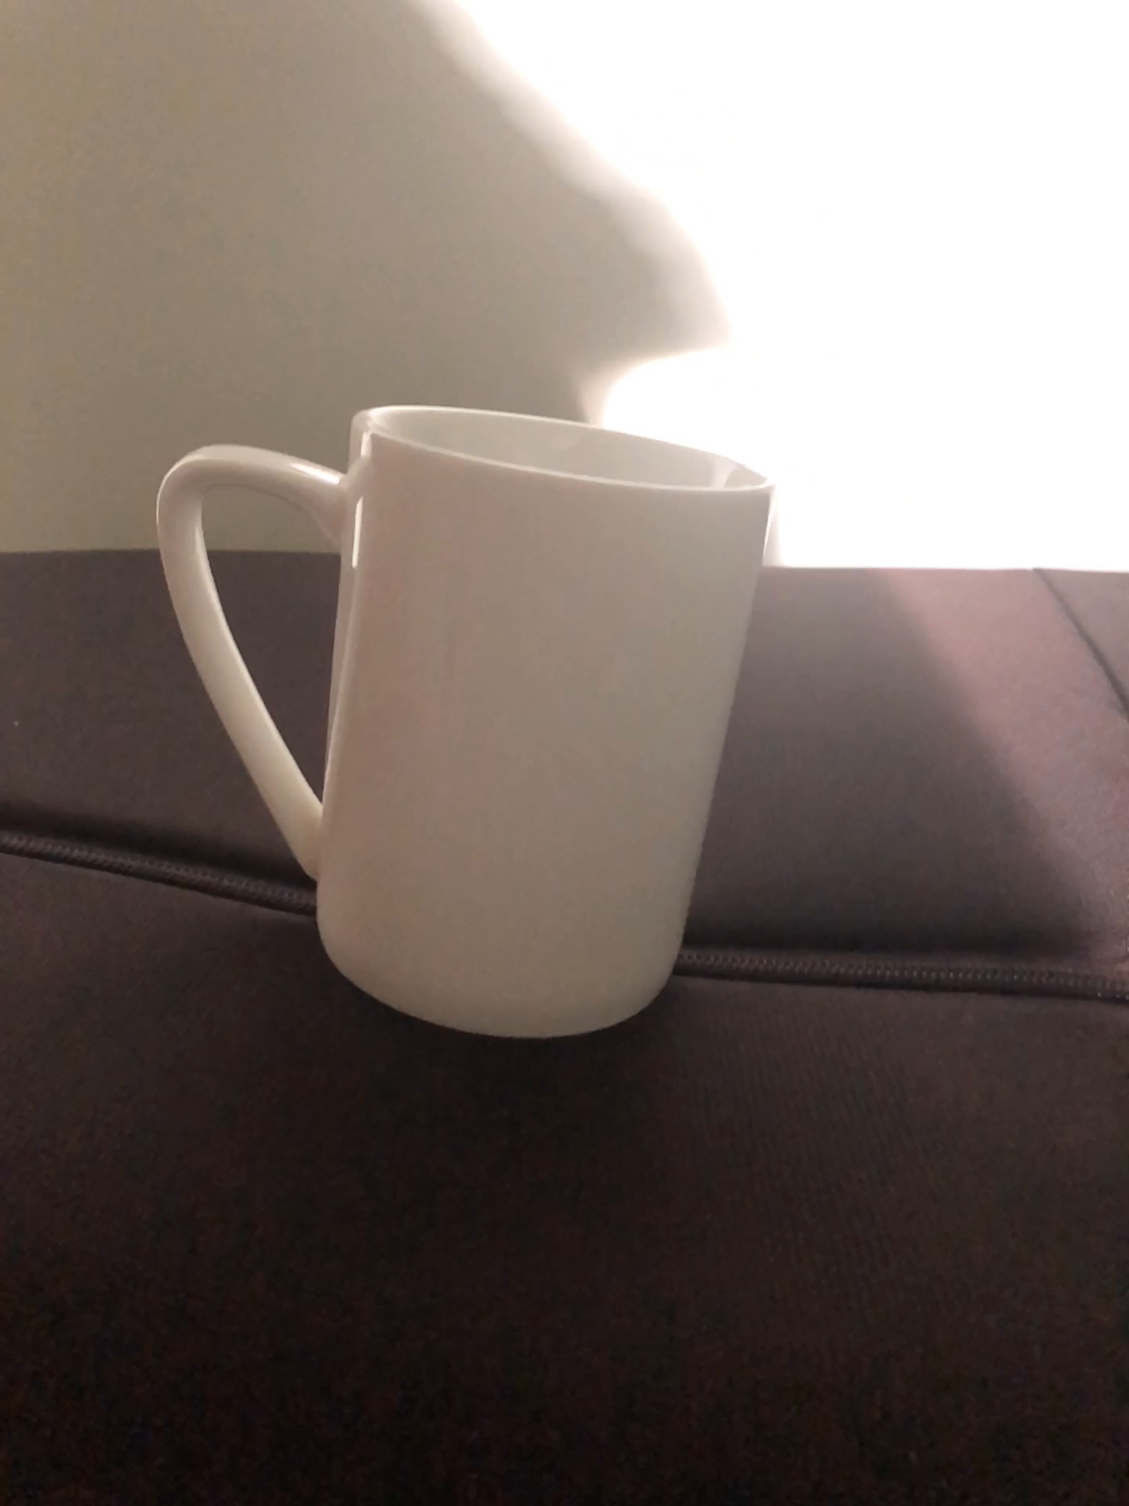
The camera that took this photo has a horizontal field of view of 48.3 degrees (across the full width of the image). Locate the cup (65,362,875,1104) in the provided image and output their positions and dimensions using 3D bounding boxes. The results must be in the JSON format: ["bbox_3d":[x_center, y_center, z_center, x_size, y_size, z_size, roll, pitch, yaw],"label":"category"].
[{"bbox_3d":[-0.013,-0.016,0.233,0.108,0.090,0.097,15,19,18],"label":"cup"}]
